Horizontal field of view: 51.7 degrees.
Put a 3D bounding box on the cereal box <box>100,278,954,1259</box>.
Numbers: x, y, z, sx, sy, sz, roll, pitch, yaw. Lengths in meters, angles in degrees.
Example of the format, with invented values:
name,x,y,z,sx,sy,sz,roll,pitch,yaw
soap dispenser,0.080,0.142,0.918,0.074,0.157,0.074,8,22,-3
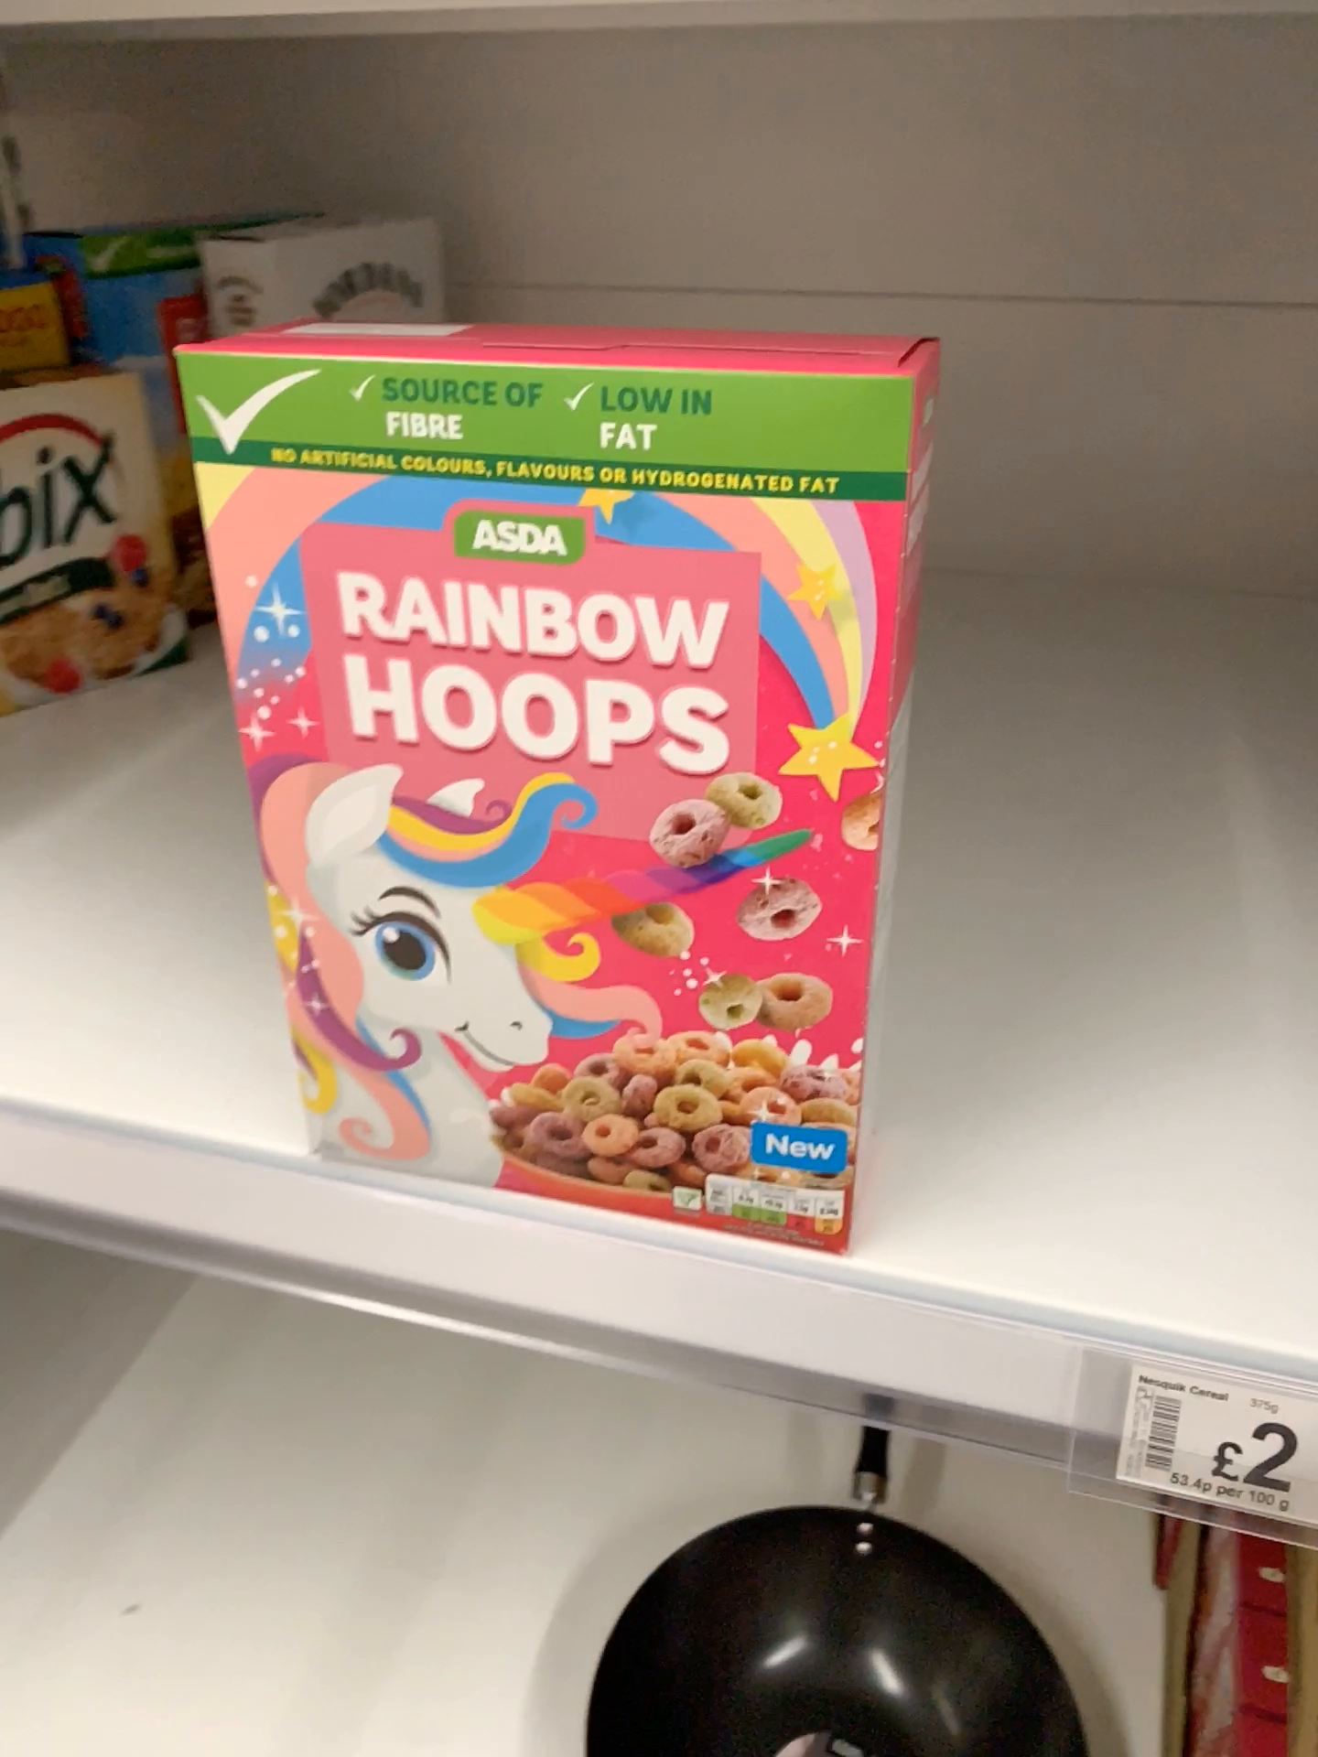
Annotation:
name,x,y,z,sx,sy,sz,roll,pitch,yaw
cereal box,-0.032,-0.027,0.416,0.210,0.277,0.061,7,30,14
